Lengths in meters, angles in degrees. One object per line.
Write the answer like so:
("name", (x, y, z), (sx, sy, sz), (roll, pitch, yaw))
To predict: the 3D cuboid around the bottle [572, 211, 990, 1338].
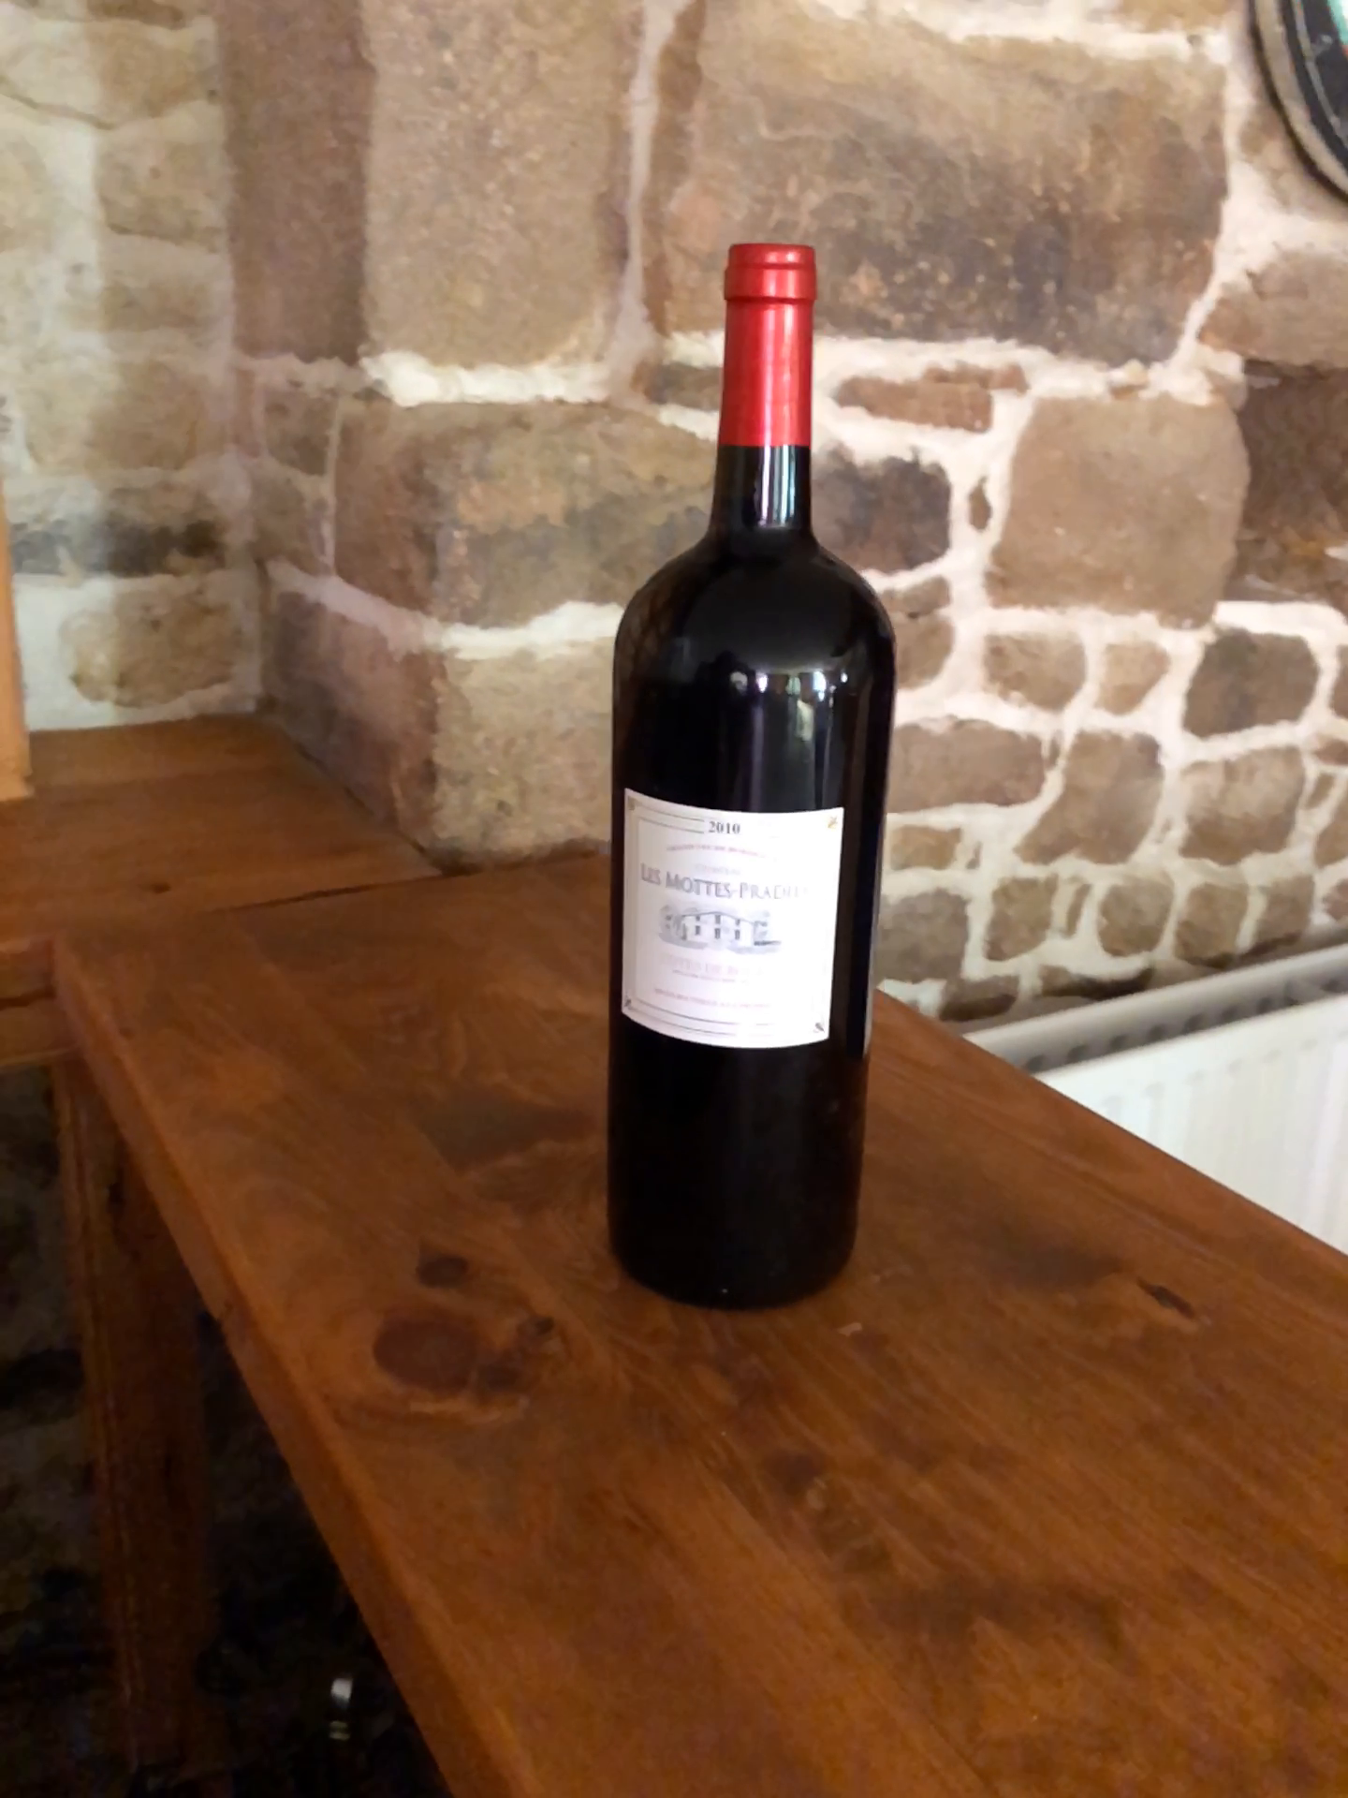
("bottle", (0.033, -0.038, 0.506), (0.100, 0.348, 0.101), (2, 19, -1))
